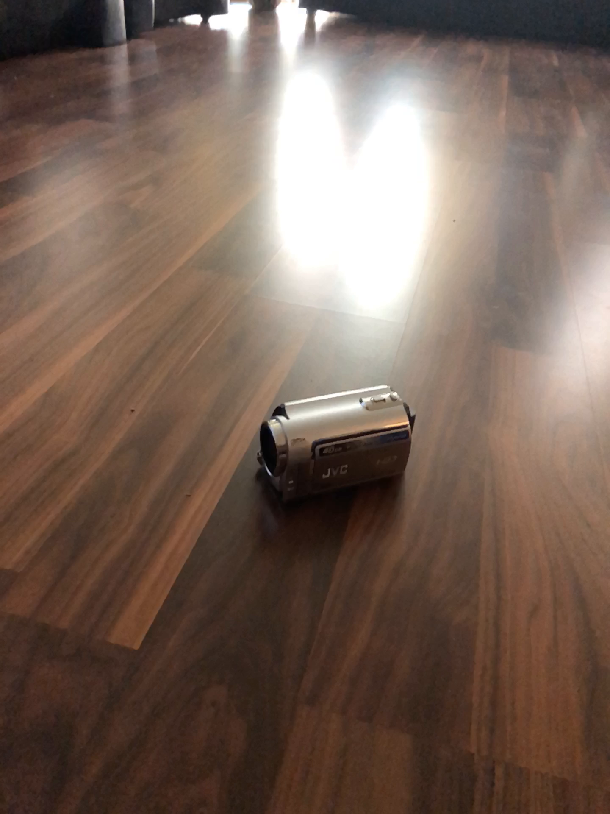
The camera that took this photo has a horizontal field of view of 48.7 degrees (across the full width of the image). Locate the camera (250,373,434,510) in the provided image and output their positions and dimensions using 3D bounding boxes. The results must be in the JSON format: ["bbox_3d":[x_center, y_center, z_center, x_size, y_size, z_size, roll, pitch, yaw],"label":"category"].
[{"bbox_3d":[0.025,0.023,0.510,0.120,0.060,0.060,-10,37,-20],"label":"camera"}]
